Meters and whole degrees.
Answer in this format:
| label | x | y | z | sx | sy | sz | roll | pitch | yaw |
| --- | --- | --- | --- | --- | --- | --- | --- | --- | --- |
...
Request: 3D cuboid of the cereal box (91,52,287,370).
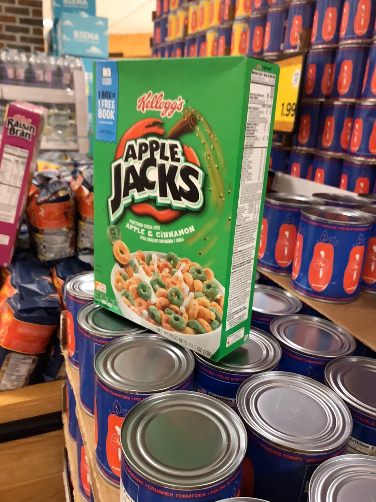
| label | x | y | z | sx | sy | sz | roll | pitch | yaw |
| --- | --- | --- | --- | --- | --- | --- | --- | --- | --- |
| cereal box | -0.016 | -0.050 | 0.454 | 0.200 | 0.288 | 0.060 | 17 | 22 | 36 |
